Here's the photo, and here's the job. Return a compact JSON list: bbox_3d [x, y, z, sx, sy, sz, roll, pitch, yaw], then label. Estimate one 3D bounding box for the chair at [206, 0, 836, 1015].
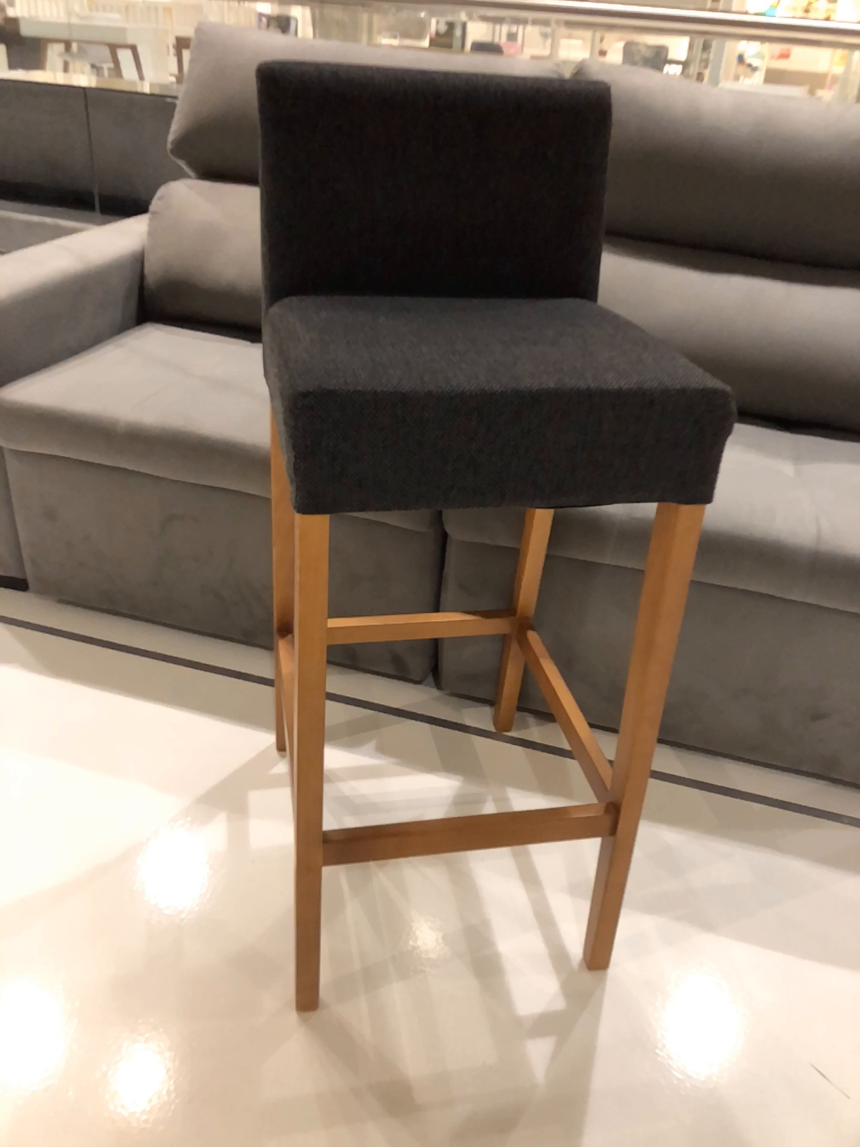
[{"bbox_3d":[-0.022,-0.084,1.120,0.450,0.973,0.584,-1,29,-13],"label":"chair"}]
